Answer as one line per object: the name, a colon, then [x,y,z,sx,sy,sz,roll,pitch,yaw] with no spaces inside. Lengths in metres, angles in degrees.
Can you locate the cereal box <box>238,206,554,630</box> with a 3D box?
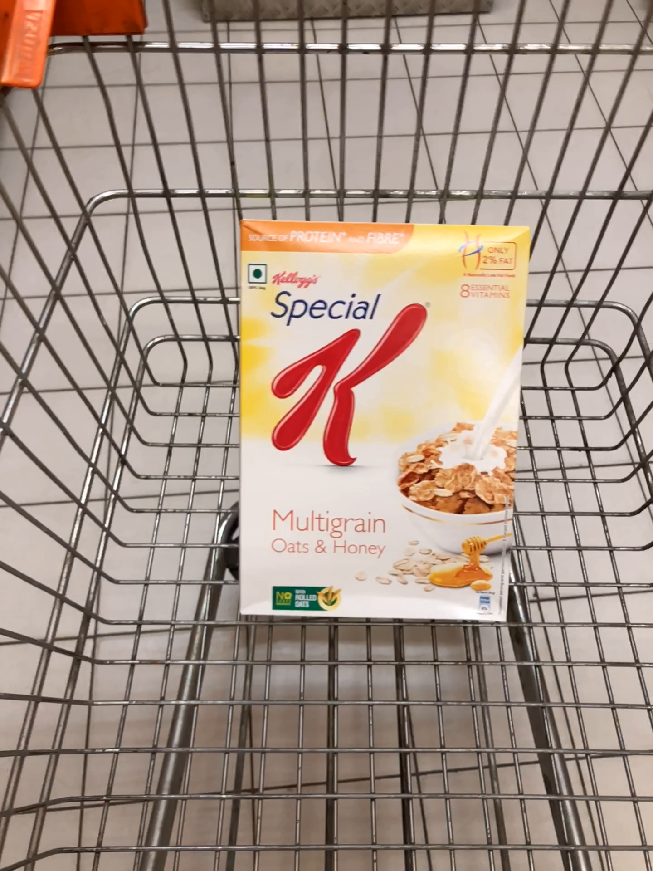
cereal box: [0.040,-0.012,0.511,0.190,0.090,0.270,2,100,-1]
